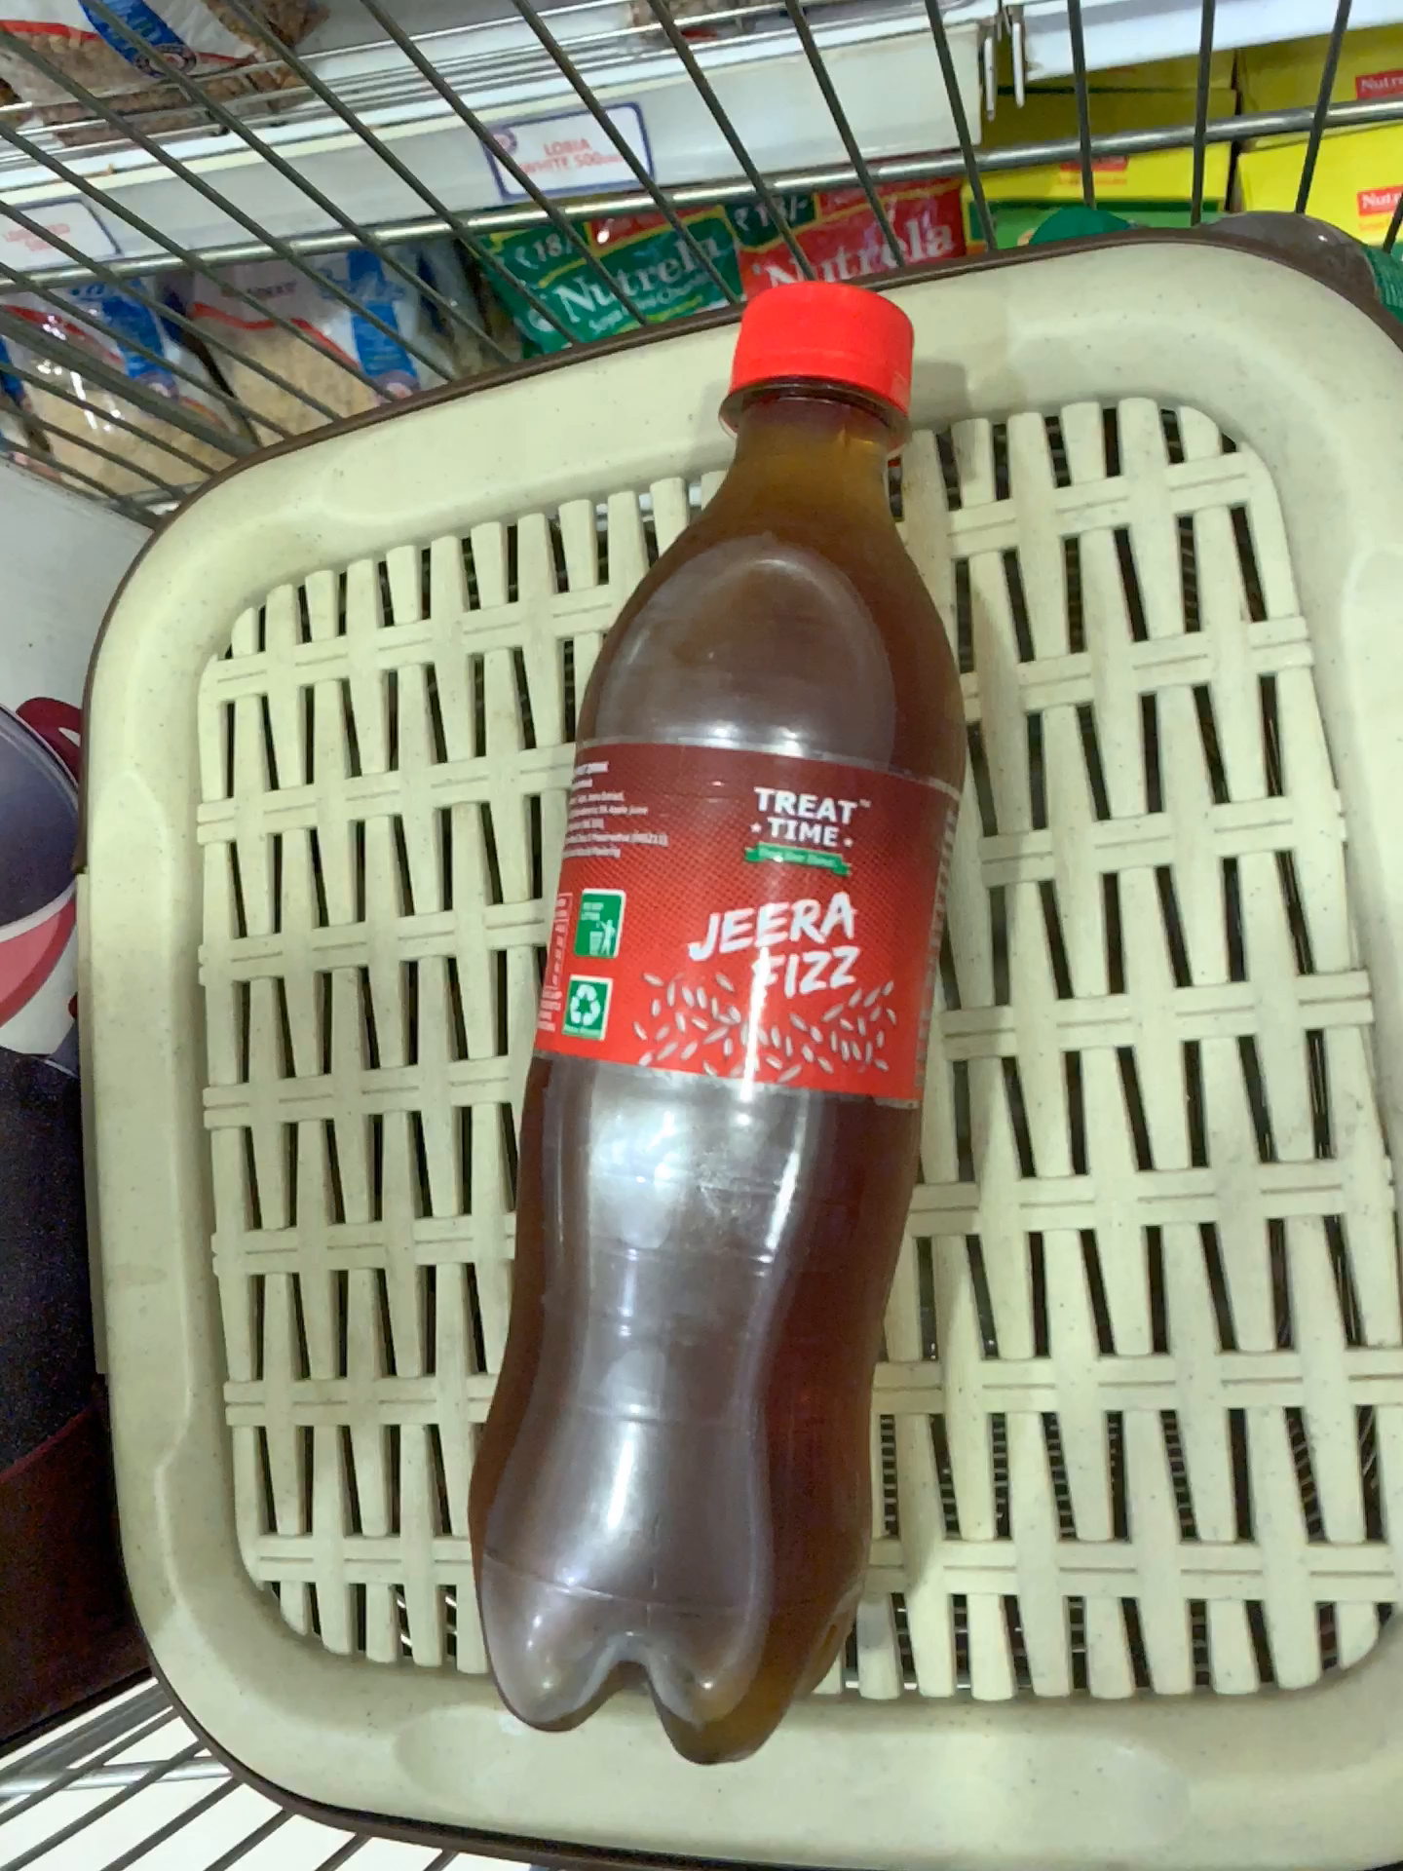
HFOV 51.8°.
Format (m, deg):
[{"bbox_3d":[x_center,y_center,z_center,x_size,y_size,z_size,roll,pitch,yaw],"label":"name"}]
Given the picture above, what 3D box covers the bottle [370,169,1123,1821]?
[{"bbox_3d":[0.006,0.008,0.244,0.080,0.070,0.230,8,85,-7],"label":"bottle"}]
